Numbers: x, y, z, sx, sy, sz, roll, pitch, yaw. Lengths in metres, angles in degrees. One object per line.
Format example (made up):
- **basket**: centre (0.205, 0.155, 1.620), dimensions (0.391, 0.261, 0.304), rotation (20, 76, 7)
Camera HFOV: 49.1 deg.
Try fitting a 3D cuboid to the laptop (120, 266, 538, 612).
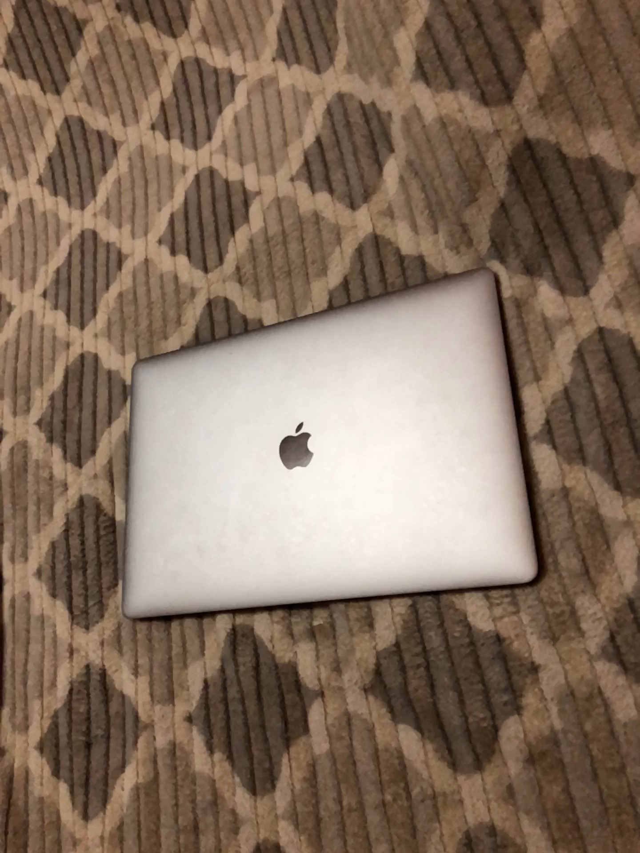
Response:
- **laptop**: centre (-0.020, 0.019, 0.591), dimensions (0.358, 0.007, 0.246), rotation (-11, 69, 23)
